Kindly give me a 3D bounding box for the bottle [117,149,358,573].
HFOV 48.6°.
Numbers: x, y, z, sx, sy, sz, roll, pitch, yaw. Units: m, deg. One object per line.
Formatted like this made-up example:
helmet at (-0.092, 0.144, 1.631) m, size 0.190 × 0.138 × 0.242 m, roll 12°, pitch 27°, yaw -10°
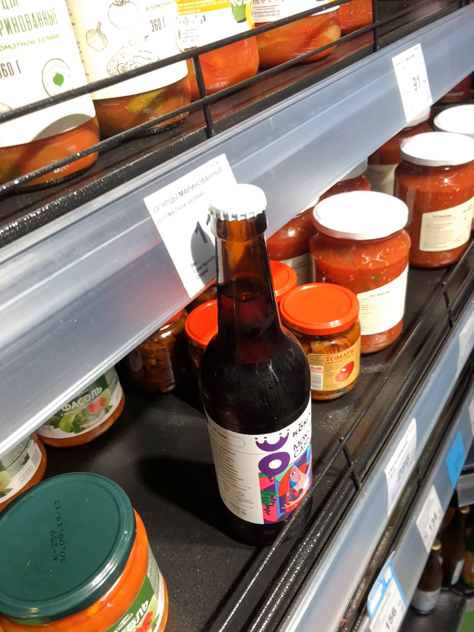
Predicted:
bottle at (0.010, 0.037, 0.316) m, size 0.080 × 0.238 × 0.080 m, roll -4°, pitch 36°, yaw 3°
